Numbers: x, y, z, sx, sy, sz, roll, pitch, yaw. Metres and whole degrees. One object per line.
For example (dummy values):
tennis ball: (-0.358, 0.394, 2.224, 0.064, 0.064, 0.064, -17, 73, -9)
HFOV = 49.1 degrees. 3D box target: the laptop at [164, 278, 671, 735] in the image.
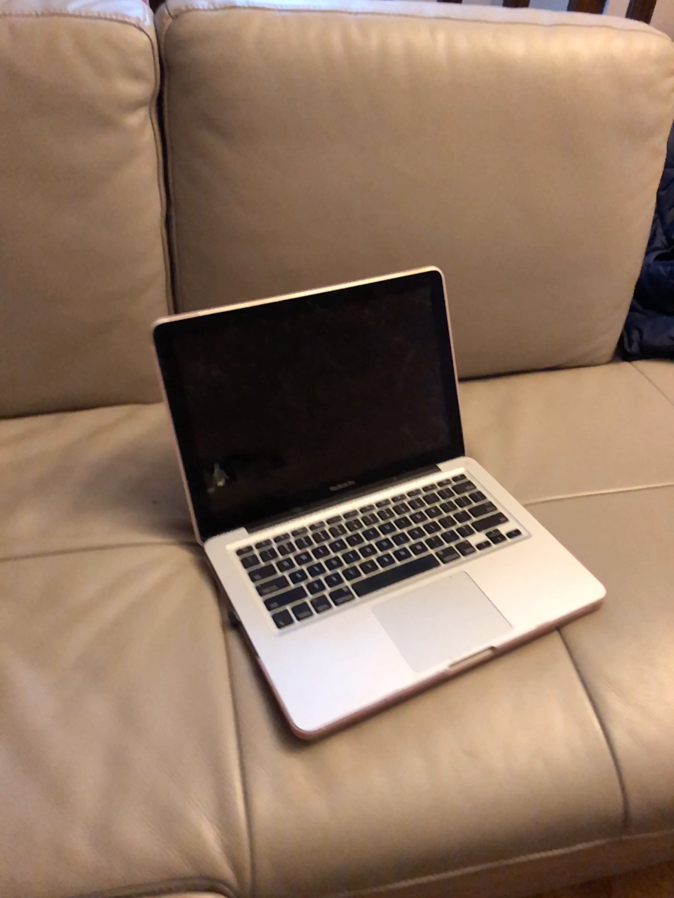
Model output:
laptop: (0.045, 0.018, 0.674, 0.308, 0.166, 0.324, -17, 45, -22)
